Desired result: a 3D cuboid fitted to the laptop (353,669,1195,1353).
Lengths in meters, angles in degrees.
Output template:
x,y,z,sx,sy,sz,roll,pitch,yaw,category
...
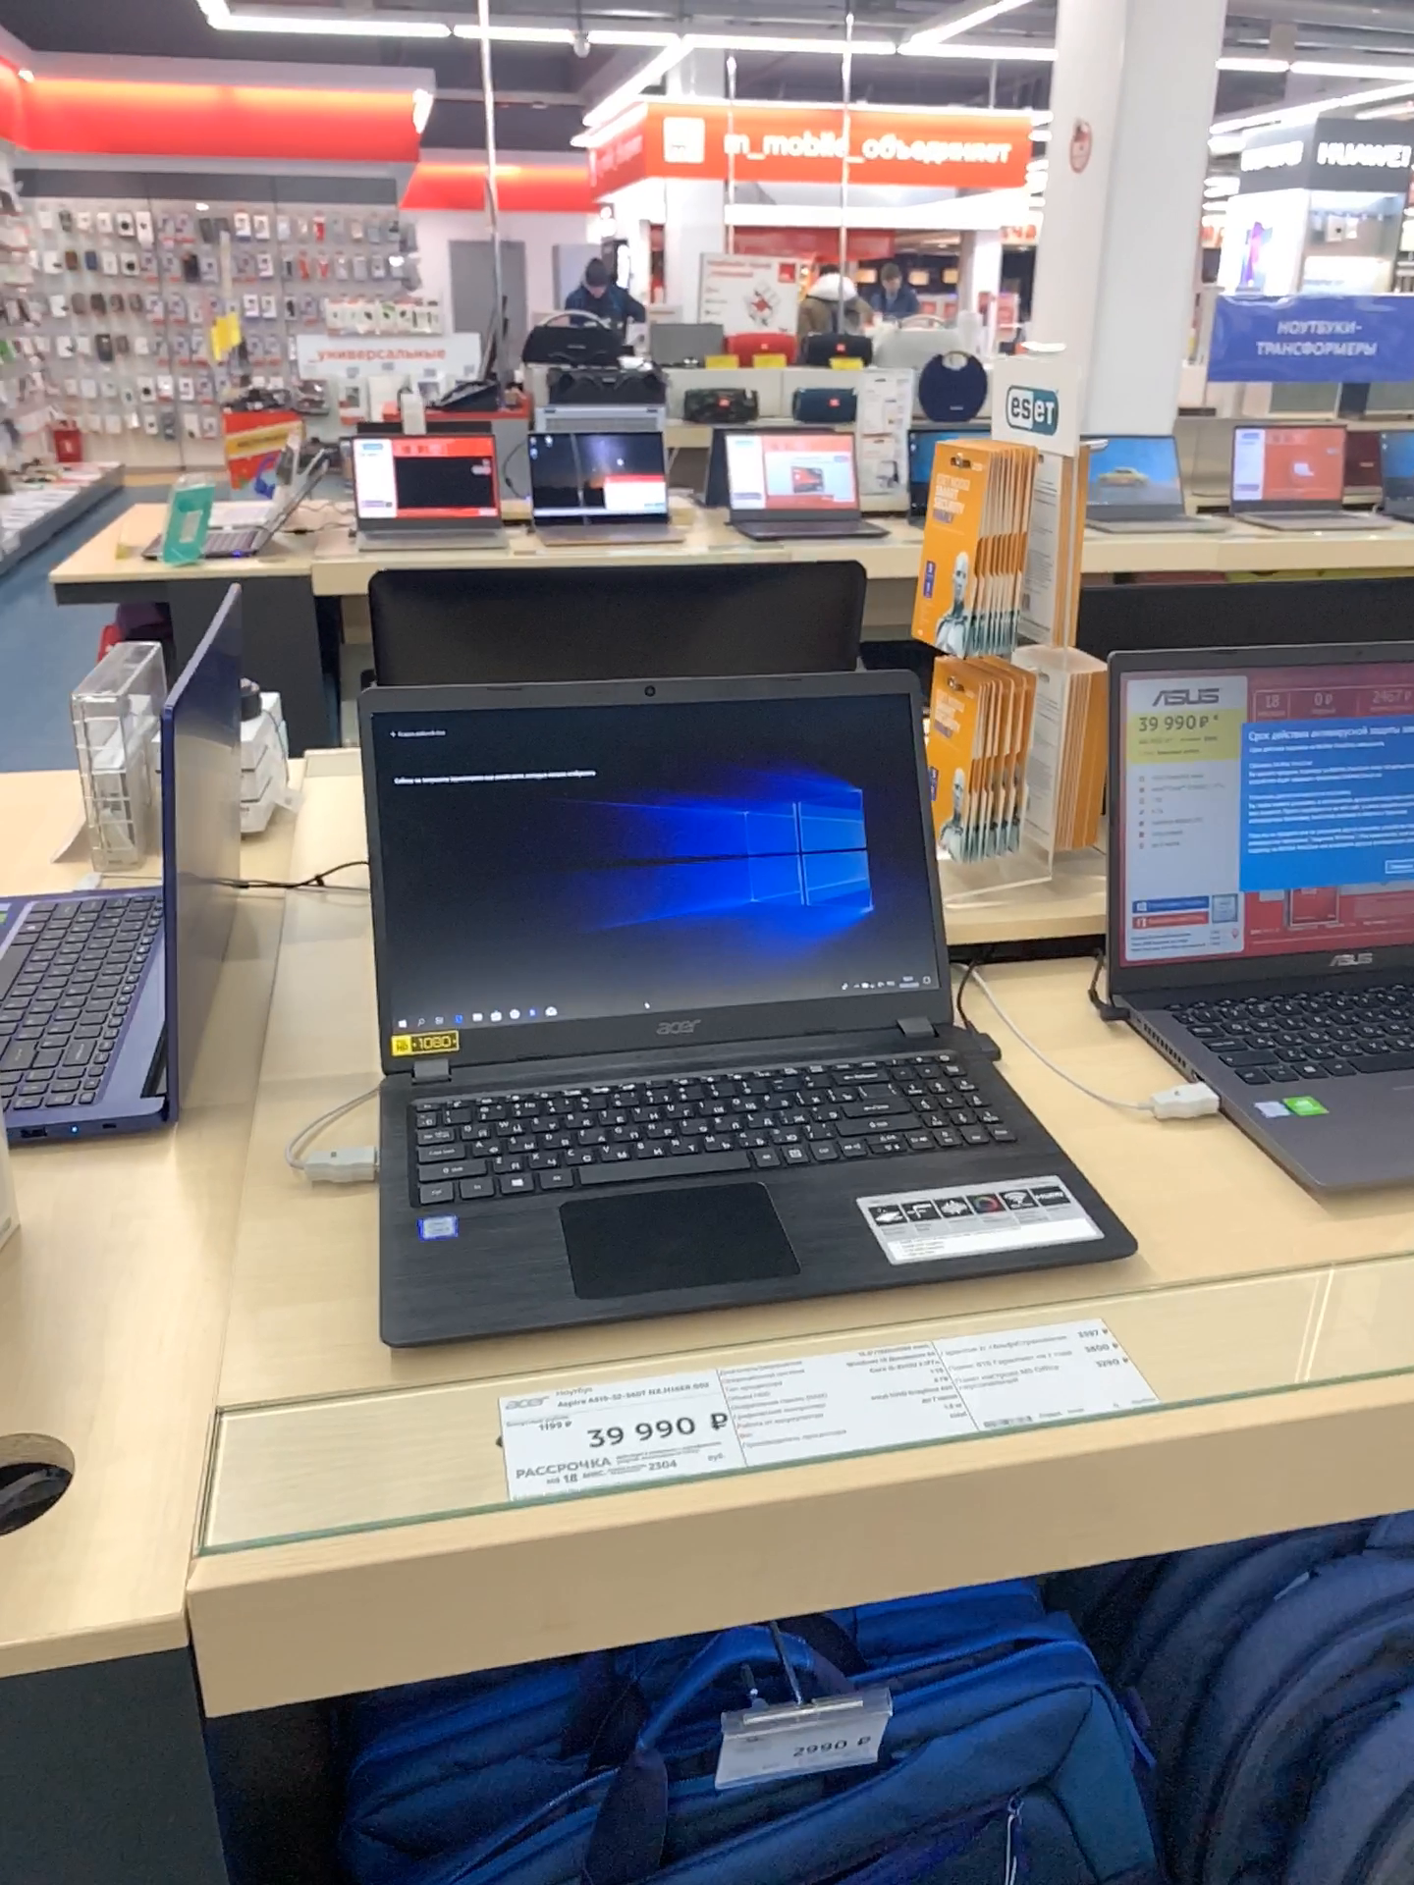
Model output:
x,y,z,sx,sy,sz,roll,pitch,yaw,category
0.002,-0.002,0.831,0.376,0.216,0.377,-4,23,-12,laptop
